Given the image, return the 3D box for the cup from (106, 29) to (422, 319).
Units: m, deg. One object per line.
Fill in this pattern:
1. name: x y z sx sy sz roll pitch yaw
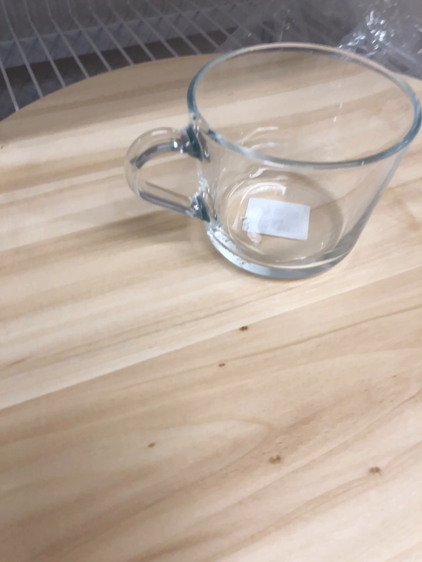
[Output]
1. cup: 0.027 -0.050 0.199 0.120 0.060 0.090 -12 50 -10
